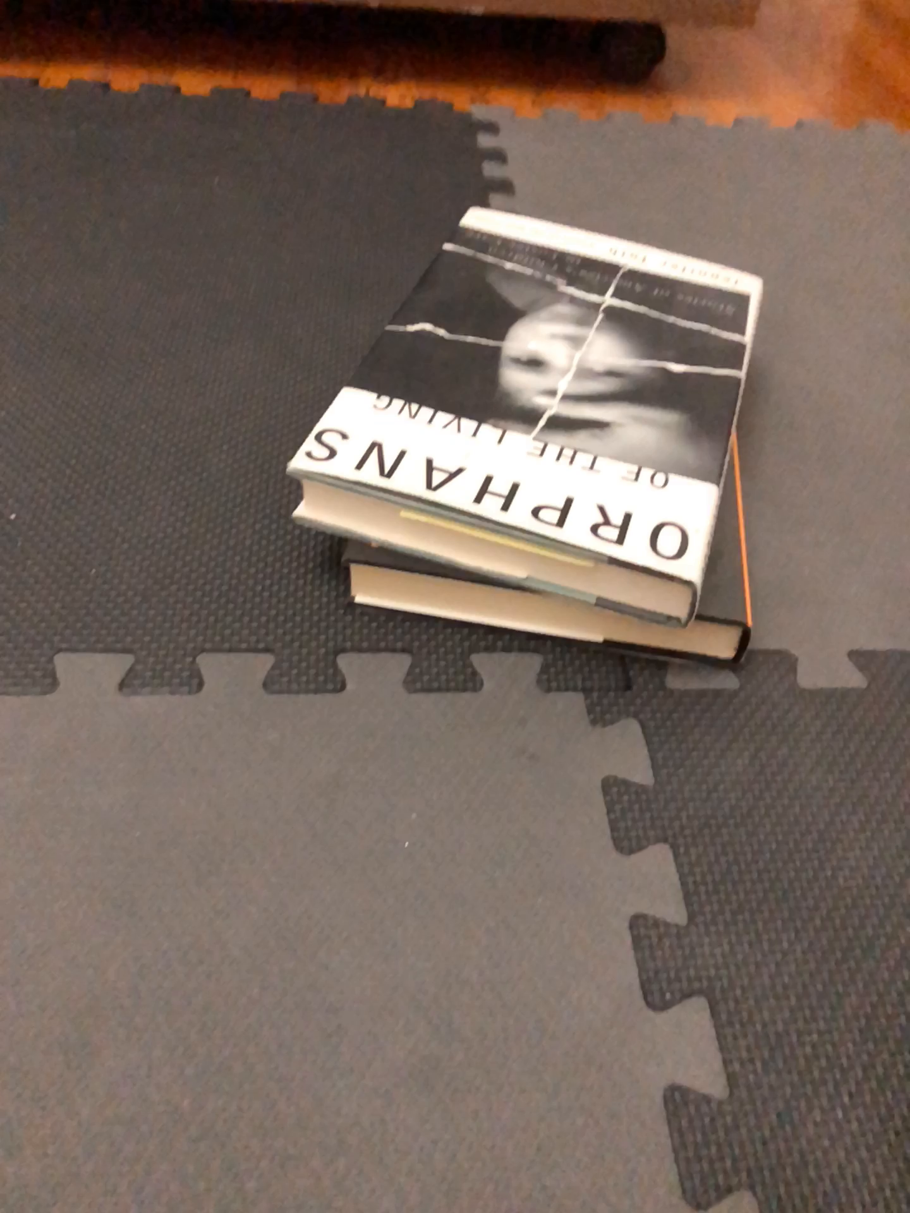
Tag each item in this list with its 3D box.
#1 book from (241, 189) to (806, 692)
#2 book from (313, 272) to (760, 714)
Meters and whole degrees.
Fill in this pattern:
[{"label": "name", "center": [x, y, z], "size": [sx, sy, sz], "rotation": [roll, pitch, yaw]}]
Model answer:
[{"label": "book", "center": [0.051, -0.099, 0.444], "size": [0.180, 0.030, 0.282], "rotation": [15, 46, 9]}, {"label": "book", "center": [0.043, -0.069, 0.456], "size": [0.160, 0.030, 0.252], "rotation": [8, 46, 2]}]
